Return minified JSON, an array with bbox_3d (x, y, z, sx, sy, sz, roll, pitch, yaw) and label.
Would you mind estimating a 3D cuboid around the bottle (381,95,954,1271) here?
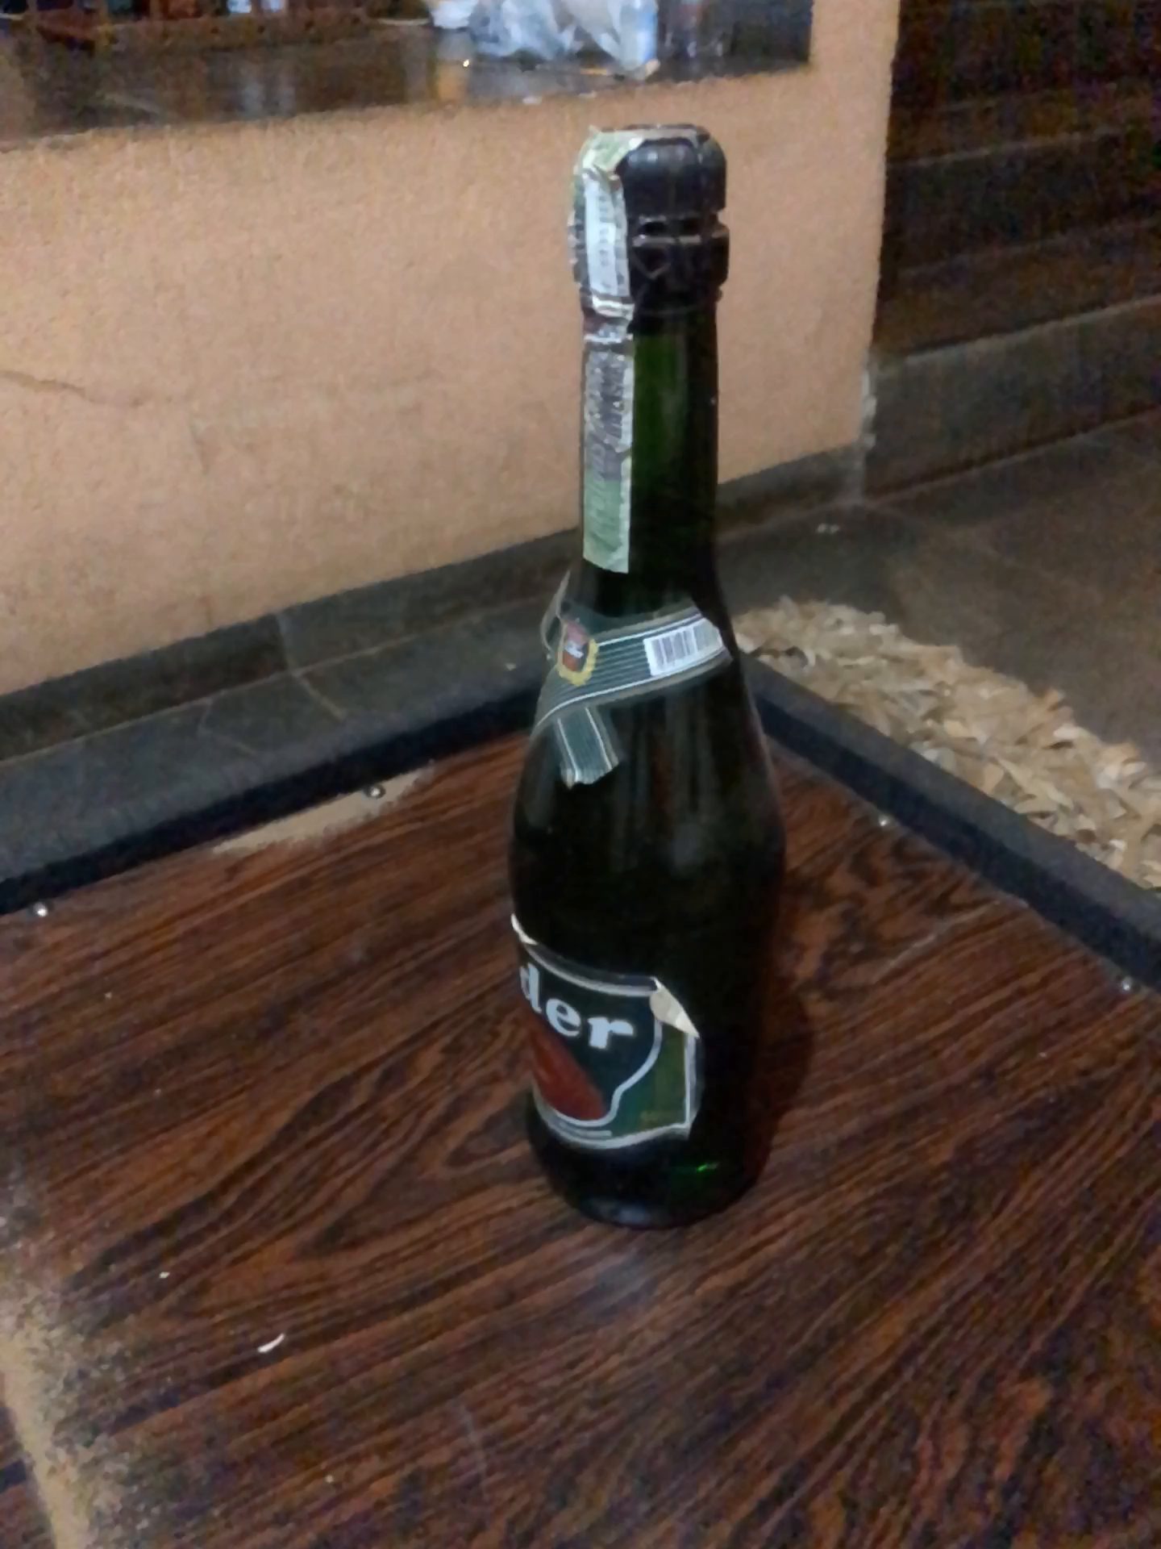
[{"bbox_3d":[0.018,-0.011,0.339,0.080,0.288,0.090,-19,37,-24],"label":"bottle"}]
